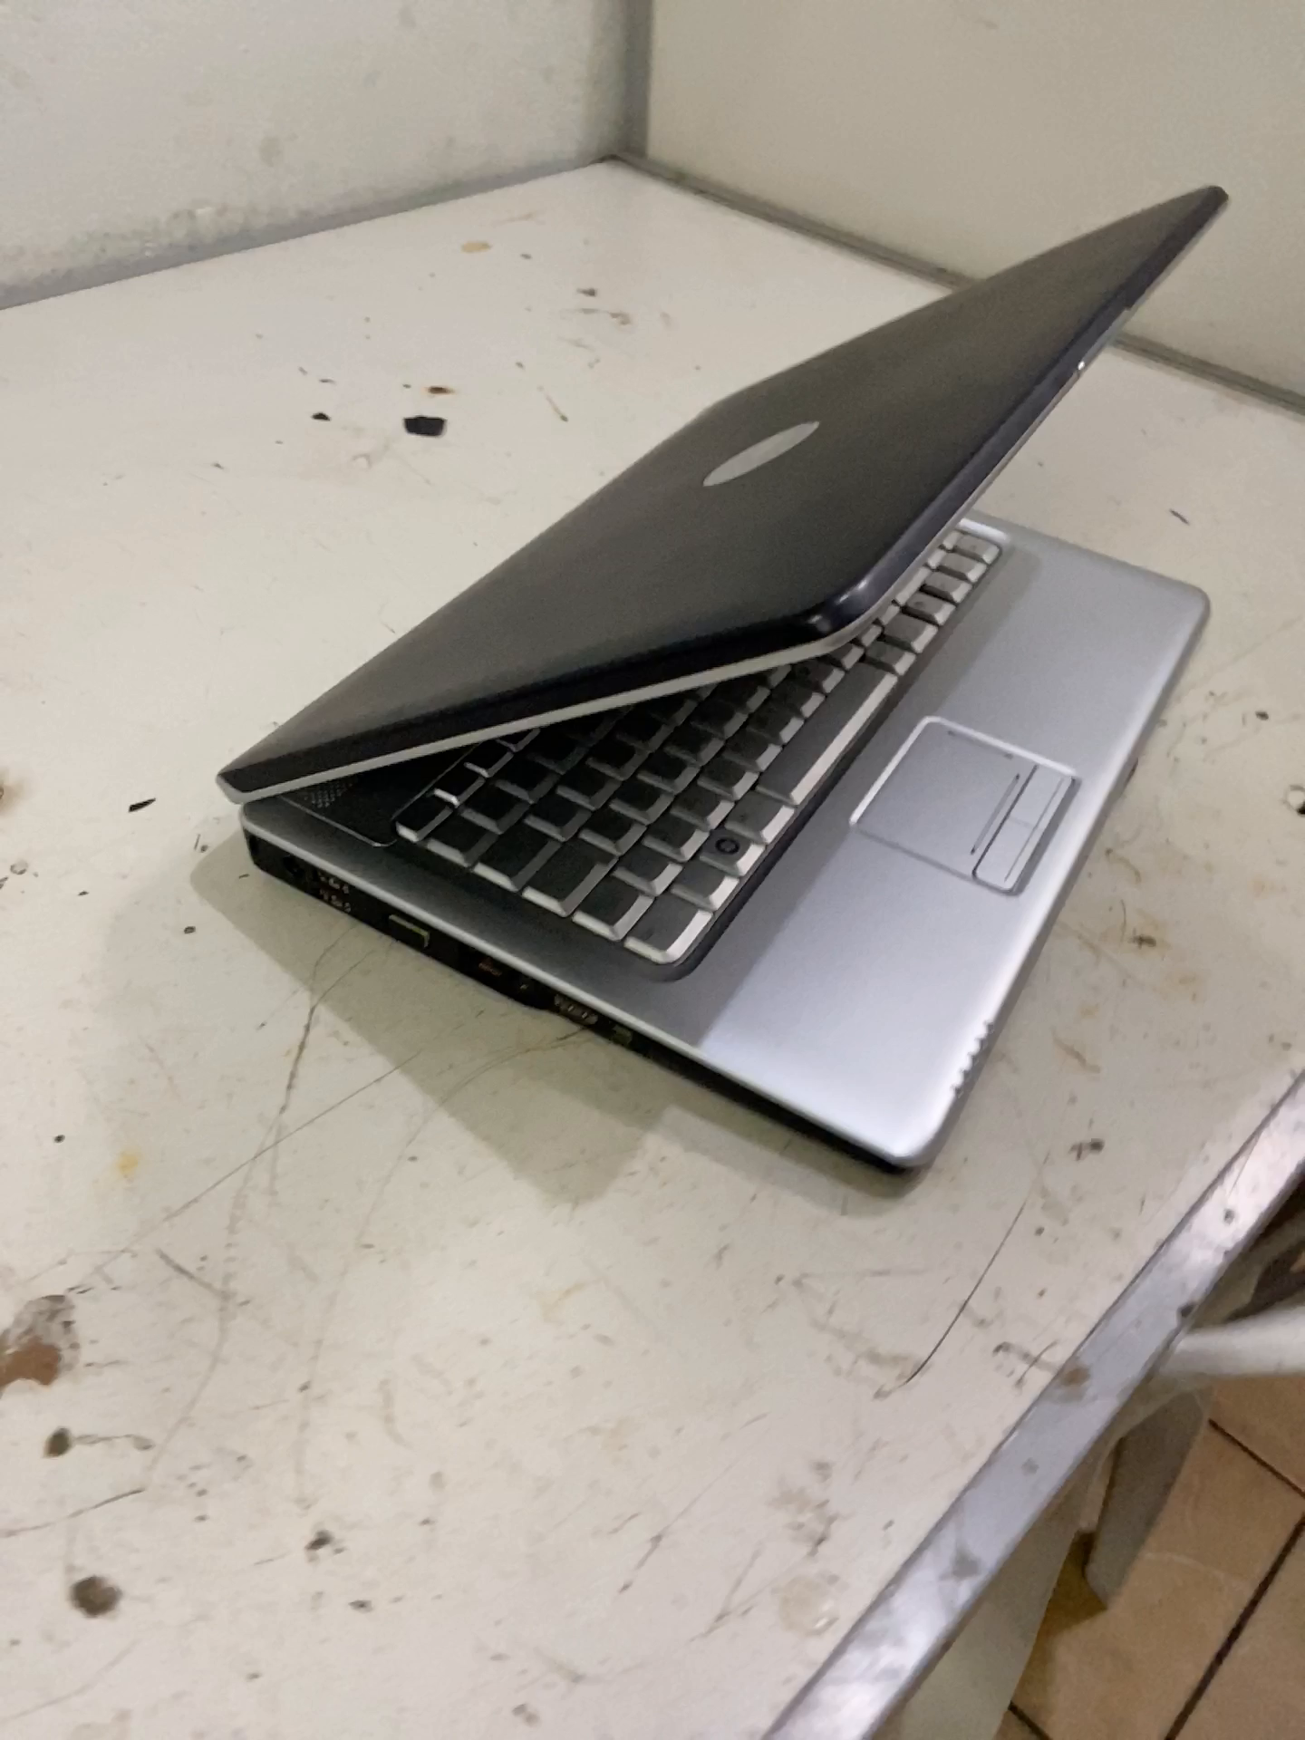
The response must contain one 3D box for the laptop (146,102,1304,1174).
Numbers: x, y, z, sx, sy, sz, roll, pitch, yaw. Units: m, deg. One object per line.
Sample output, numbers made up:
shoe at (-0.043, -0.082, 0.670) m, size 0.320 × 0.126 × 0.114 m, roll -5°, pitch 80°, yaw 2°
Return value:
laptop at (0.058, -0.121, 0.459) m, size 0.237 × 0.145 × 0.349 m, roll 24°, pitch 46°, yaw 18°
